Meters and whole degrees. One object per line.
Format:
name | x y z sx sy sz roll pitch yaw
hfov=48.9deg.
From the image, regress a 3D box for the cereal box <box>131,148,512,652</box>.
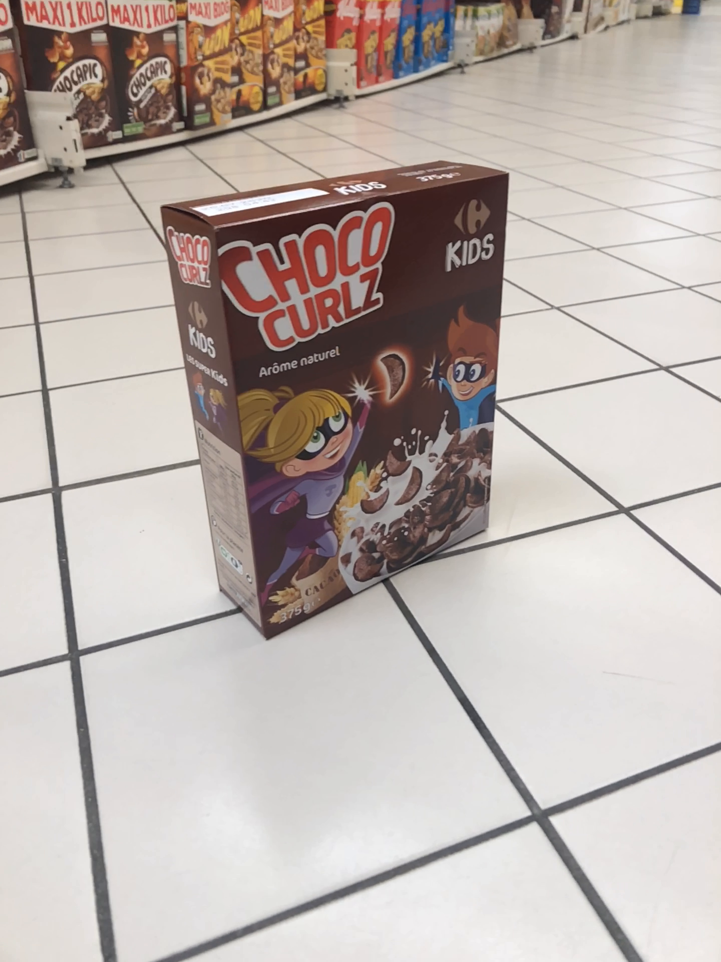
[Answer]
cereal box | -0.013 -0.053 0.492 0.201 0.258 0.070 -22 37 -31
